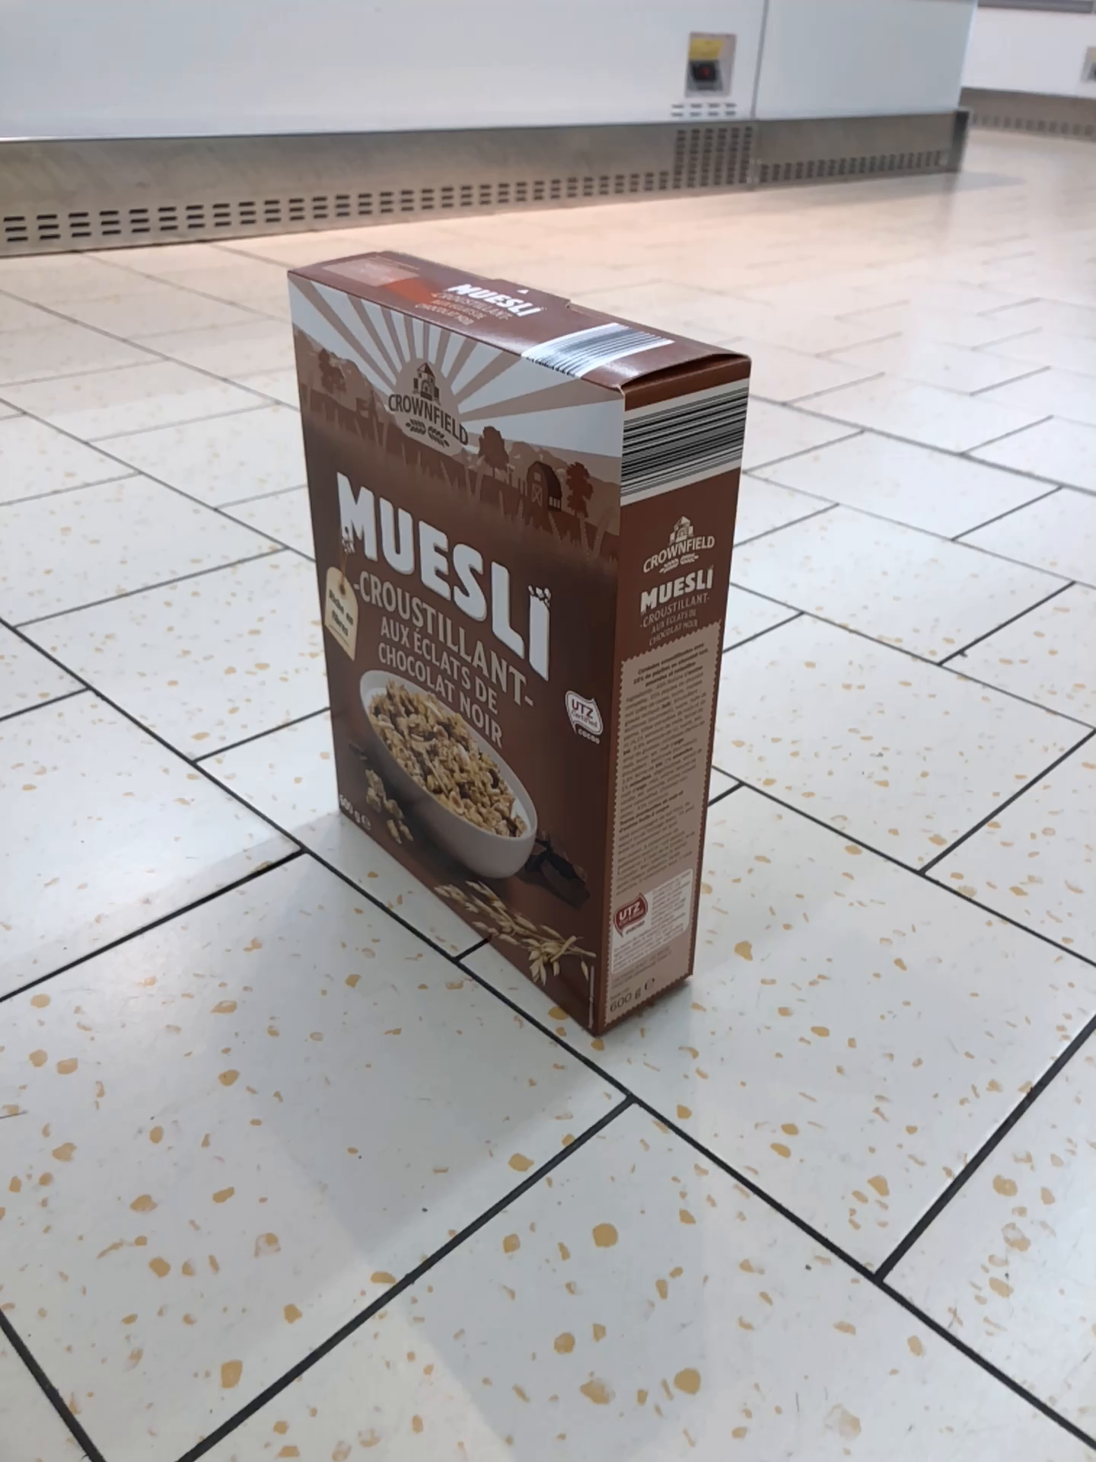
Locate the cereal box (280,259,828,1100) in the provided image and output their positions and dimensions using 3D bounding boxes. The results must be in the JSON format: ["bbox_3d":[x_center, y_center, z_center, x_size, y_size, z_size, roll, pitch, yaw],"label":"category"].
[{"bbox_3d":[-0.015,-0.029,0.445,0.070,0.239,0.200,-18,36,-32],"label":"cereal box"}]
